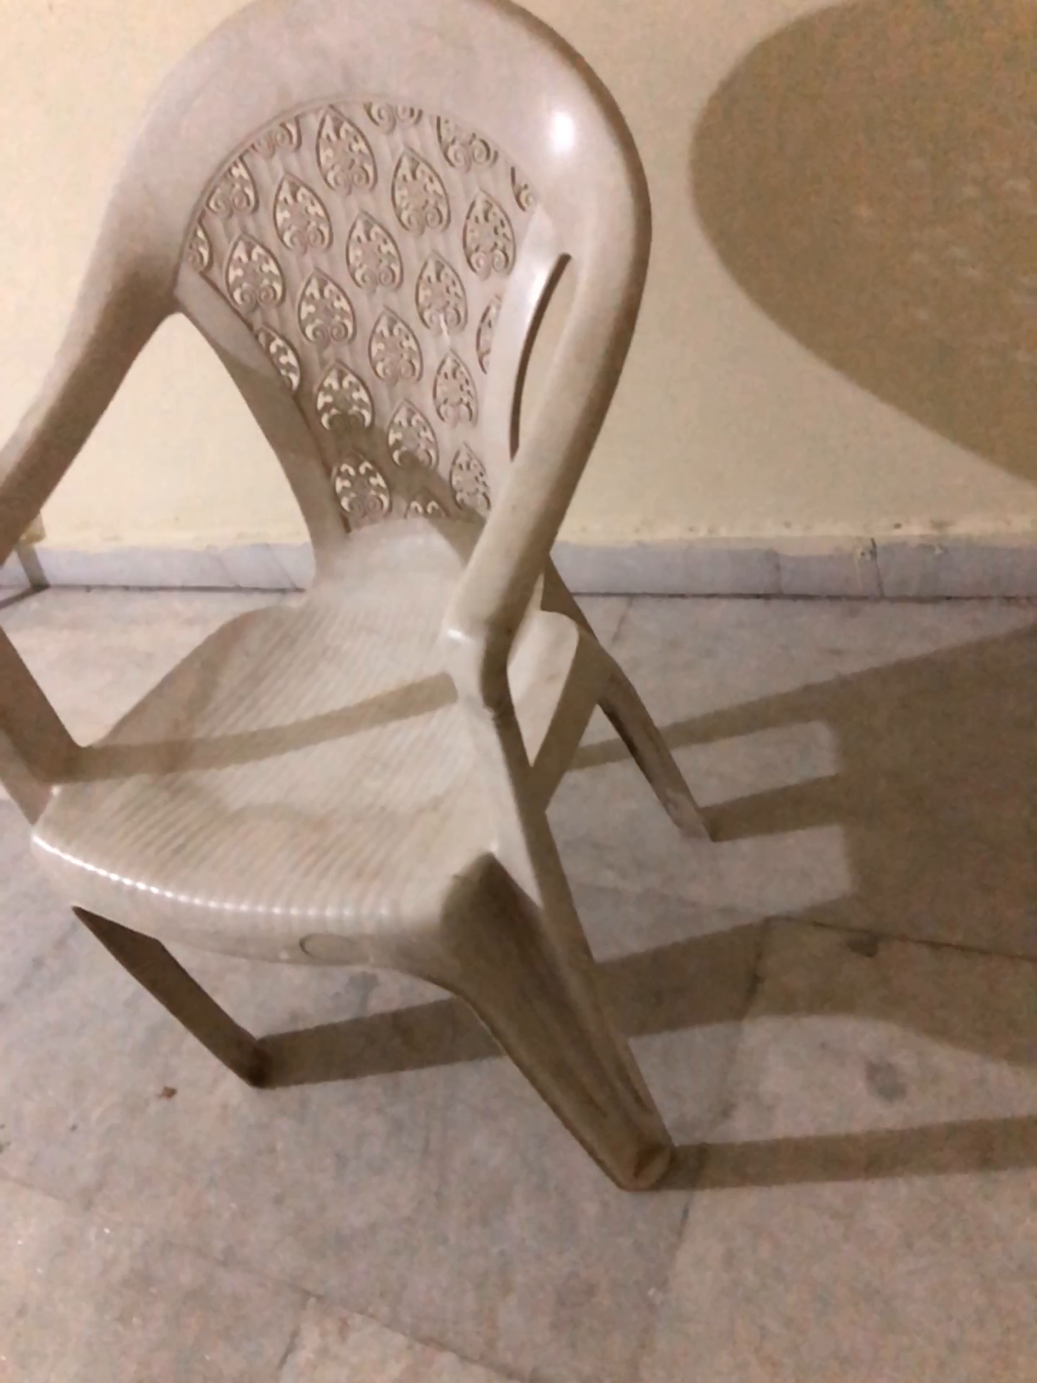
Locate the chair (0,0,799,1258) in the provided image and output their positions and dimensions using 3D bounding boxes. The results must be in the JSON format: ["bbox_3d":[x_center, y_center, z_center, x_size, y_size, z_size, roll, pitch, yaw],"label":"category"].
[{"bbox_3d":[-0.169,-0.032,0.904,0.530,0.835,0.512,4,50,30],"label":"chair"}]
